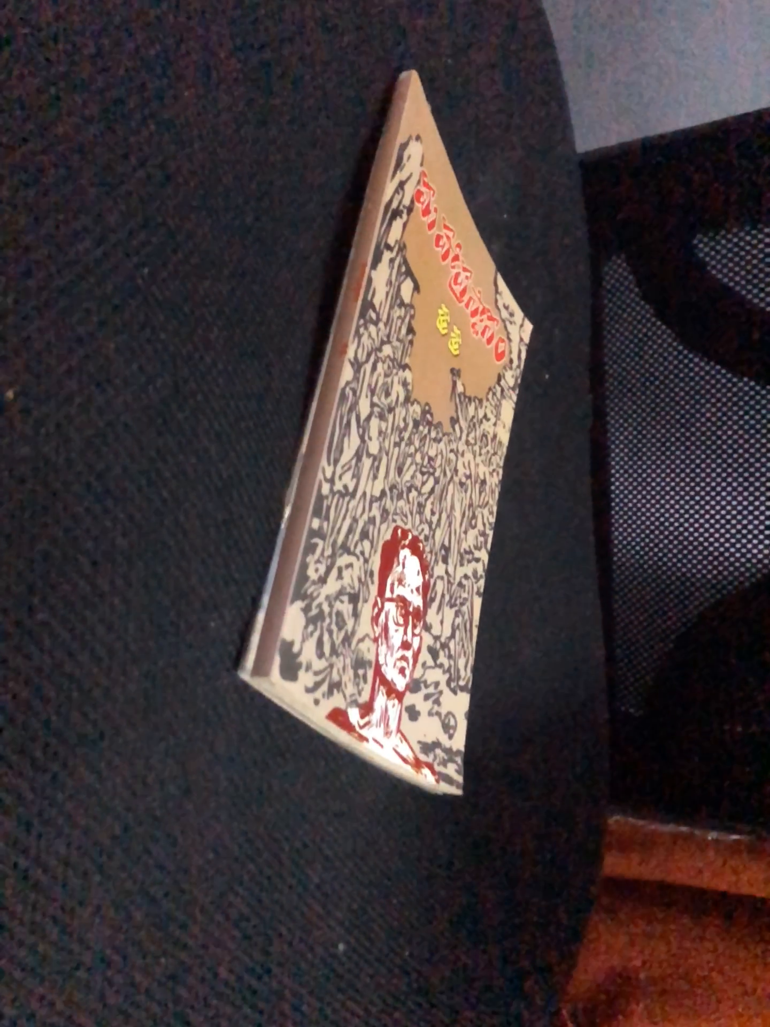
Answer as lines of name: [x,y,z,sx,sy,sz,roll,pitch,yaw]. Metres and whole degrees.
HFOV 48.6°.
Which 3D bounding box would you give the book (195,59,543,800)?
book: [0.014,-0.024,0.305,0.141,0.018,0.220,47,50,-53]
